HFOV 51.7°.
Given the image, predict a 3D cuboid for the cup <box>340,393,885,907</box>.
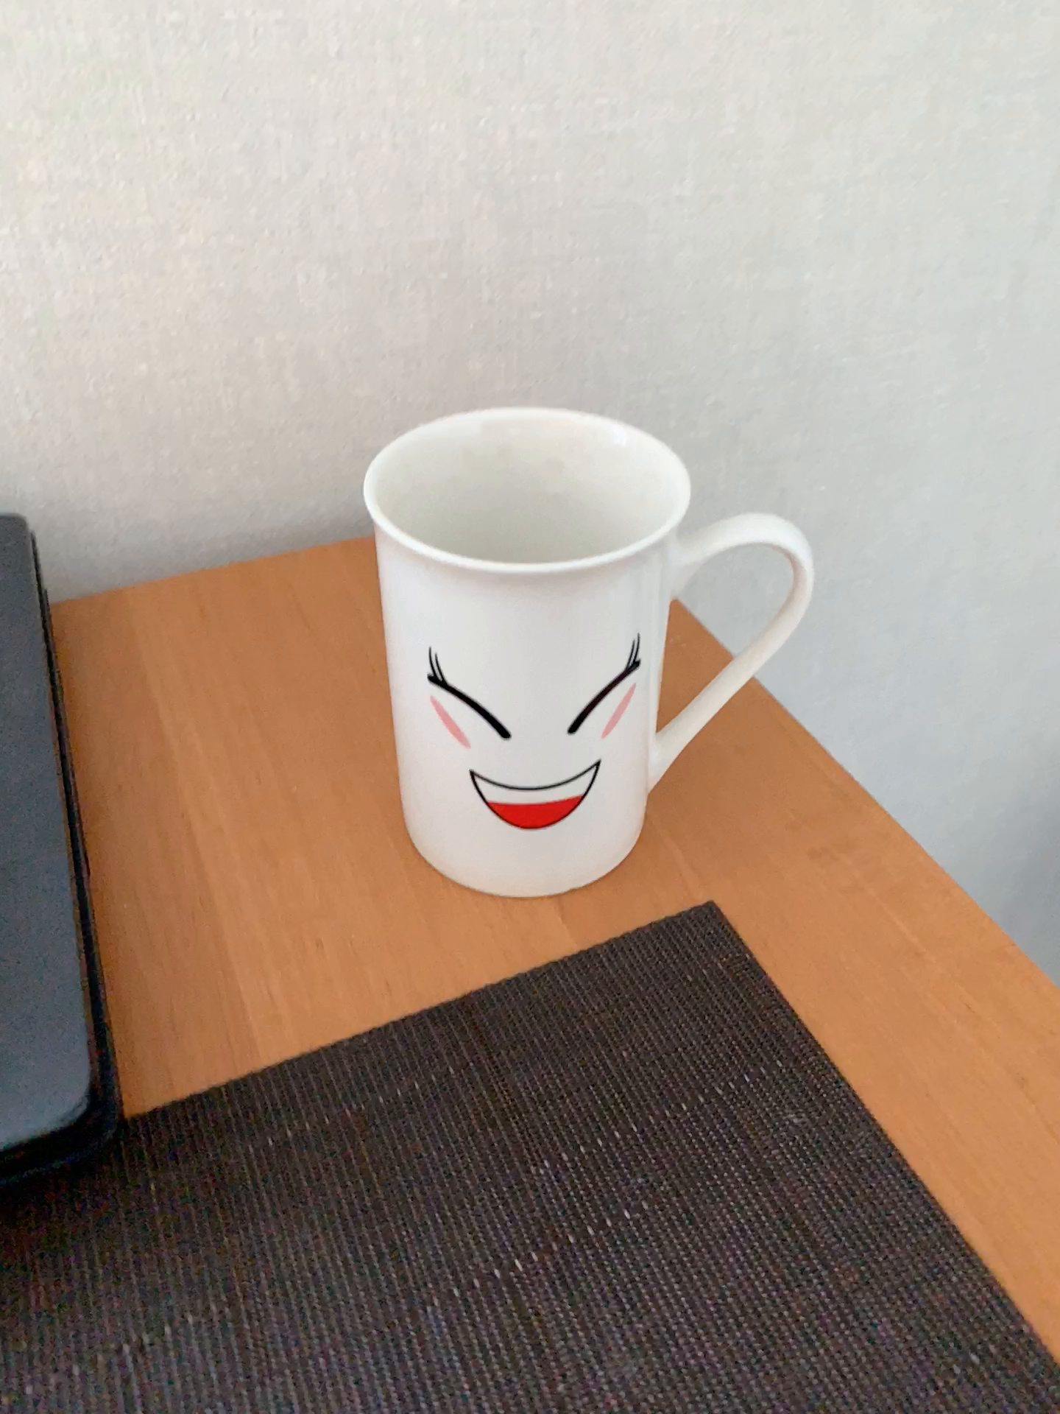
[{"bbox_3d":[0.013,-0.016,0.273,0.107,0.095,0.080,-3,37,-4],"label":"cup"}]
